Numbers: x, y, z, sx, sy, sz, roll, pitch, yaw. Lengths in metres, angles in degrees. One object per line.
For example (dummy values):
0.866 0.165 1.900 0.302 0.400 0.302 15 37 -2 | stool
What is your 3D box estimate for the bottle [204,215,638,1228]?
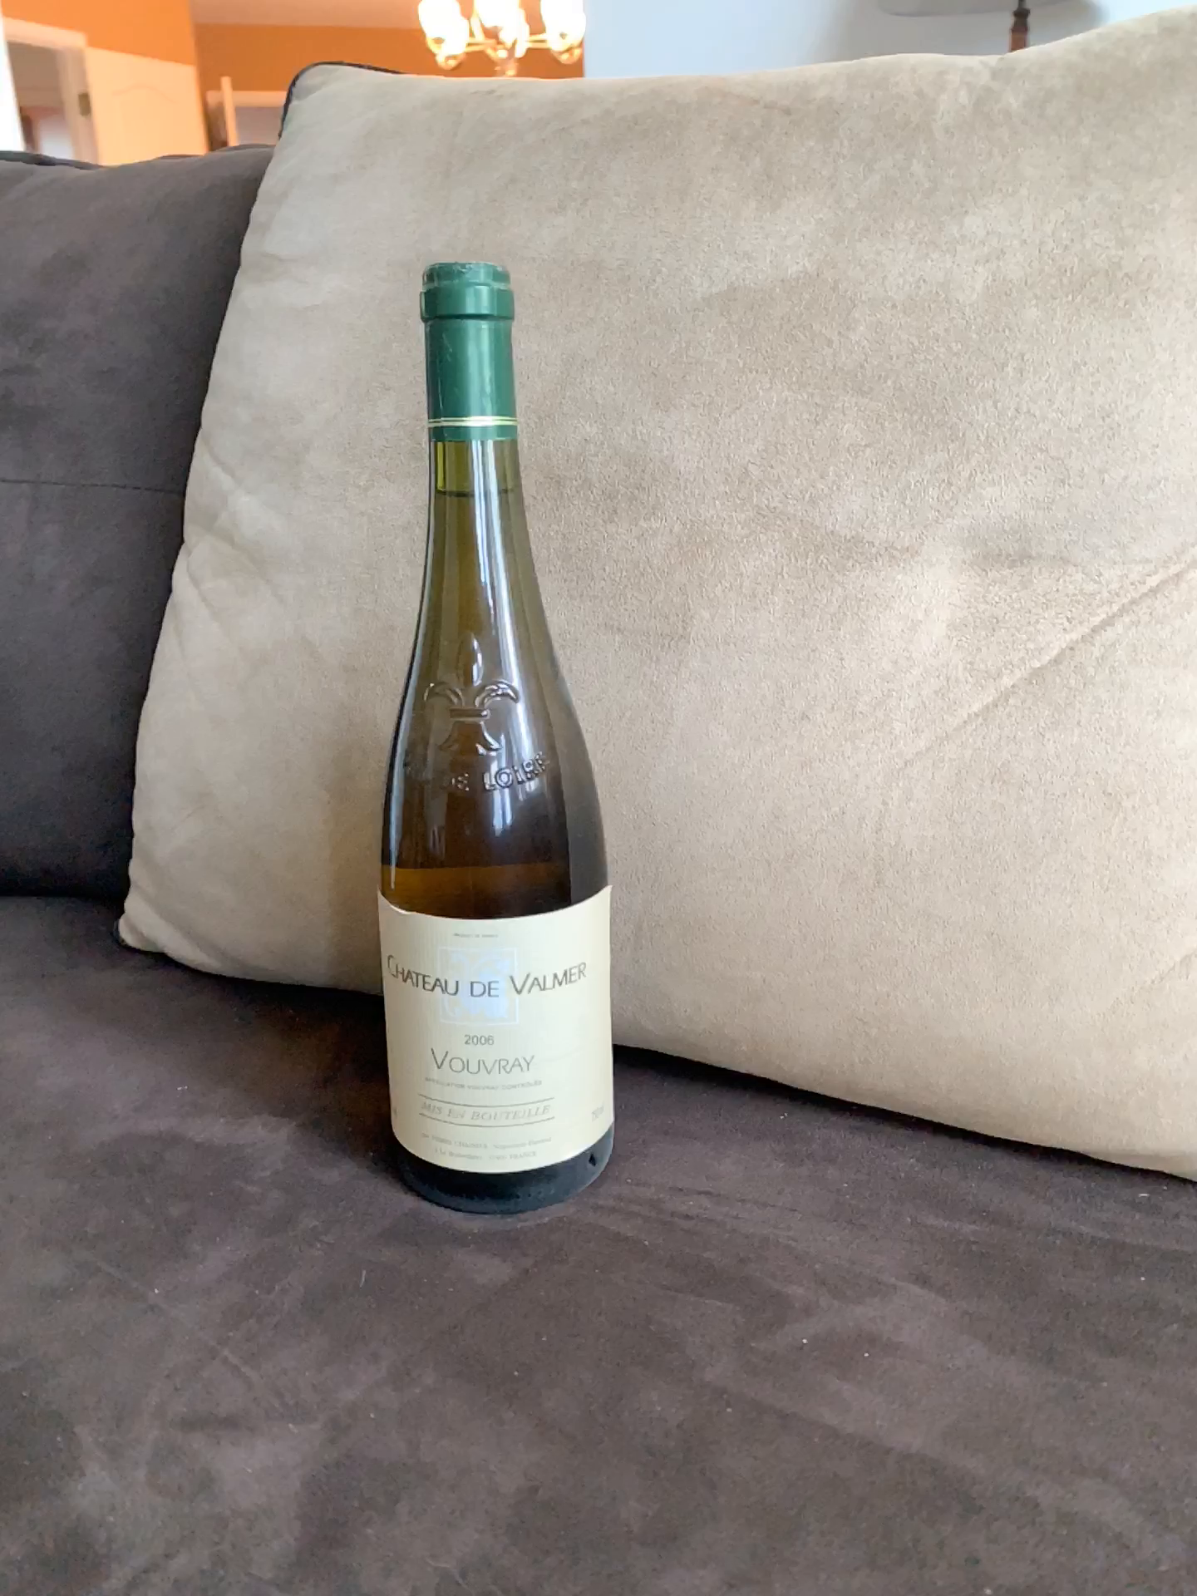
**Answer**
-0.042 -0.016 0.406 0.100 0.309 0.090 0 20 5 | bottle
